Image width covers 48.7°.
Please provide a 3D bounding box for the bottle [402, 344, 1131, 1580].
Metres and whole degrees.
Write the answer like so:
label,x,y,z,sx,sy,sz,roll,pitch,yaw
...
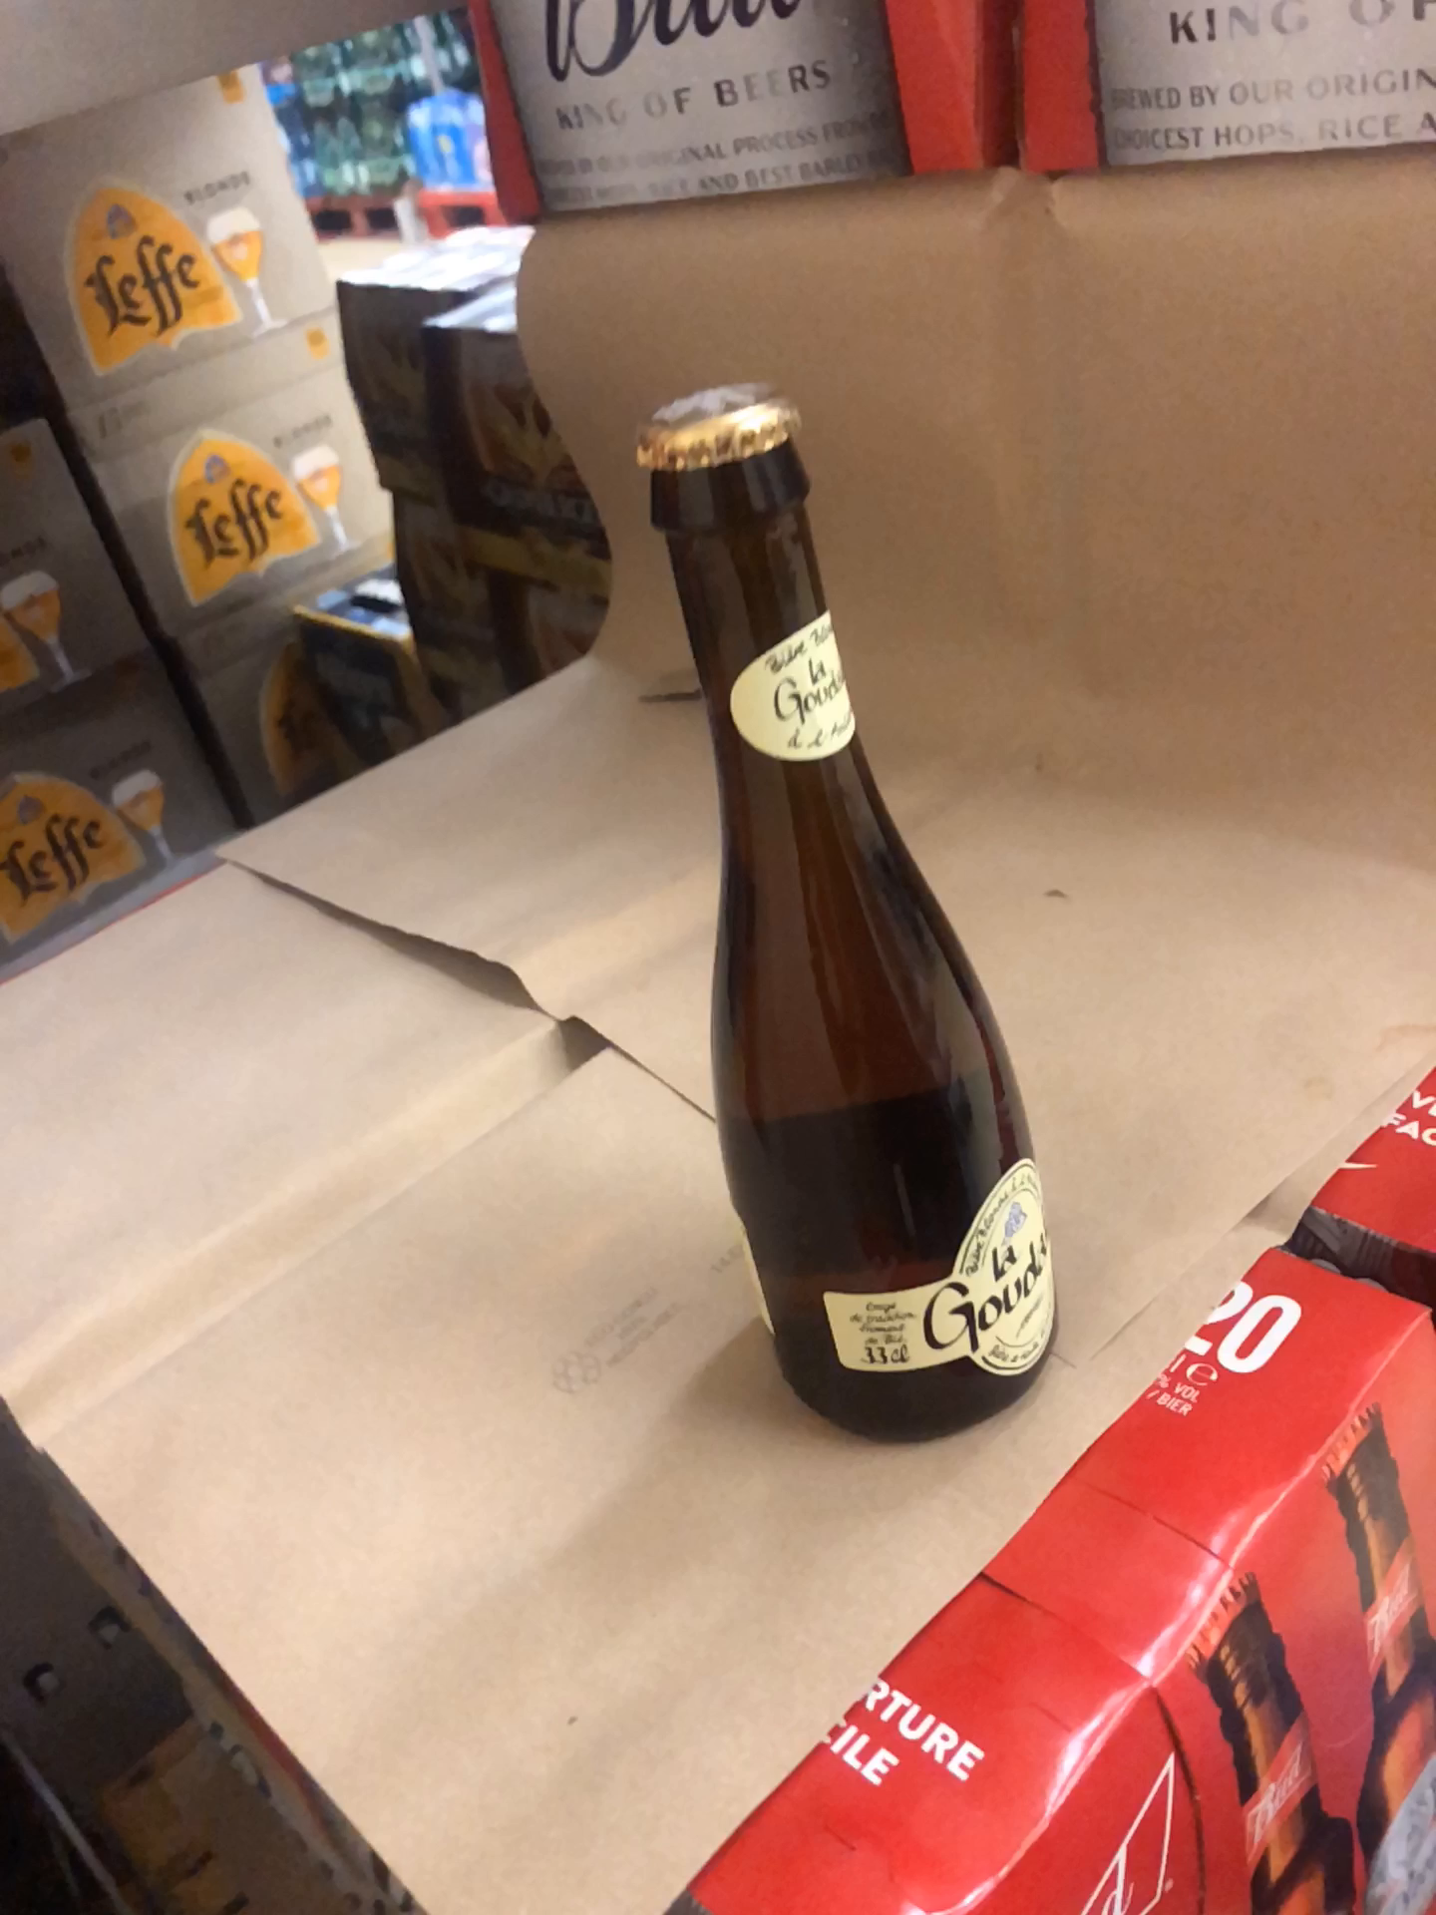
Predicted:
label,x,y,z,sx,sy,sz,roll,pitch,yaw
bottle,0.024,0.007,0.306,0.070,0.219,0.081,13,41,35
